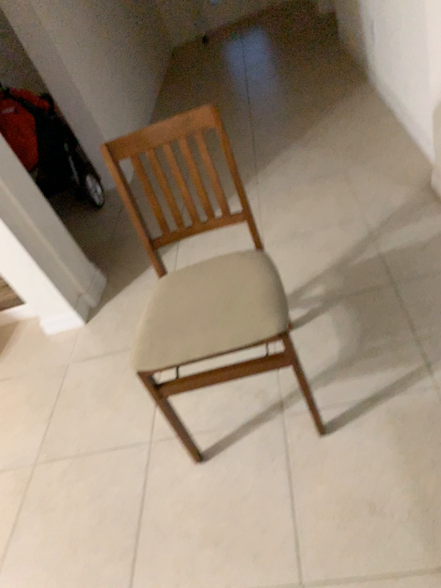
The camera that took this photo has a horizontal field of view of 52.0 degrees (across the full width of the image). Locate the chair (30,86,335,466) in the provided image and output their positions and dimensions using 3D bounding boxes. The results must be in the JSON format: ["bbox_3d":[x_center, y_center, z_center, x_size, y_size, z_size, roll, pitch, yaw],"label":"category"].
[{"bbox_3d":[-0.023,-0.015,1.357,0.450,0.881,0.596,-16,39,13],"label":"chair"}]
